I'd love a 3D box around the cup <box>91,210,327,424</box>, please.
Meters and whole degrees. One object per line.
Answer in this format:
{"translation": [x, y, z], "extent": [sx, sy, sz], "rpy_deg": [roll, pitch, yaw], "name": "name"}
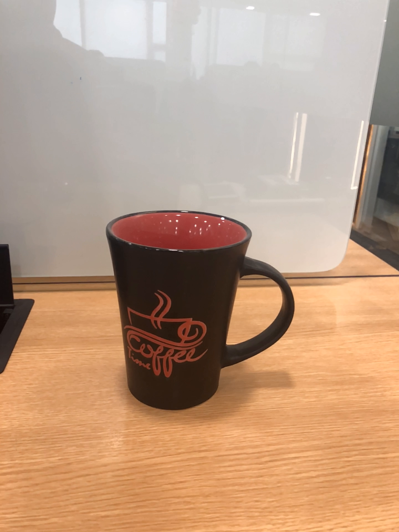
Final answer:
{"translation": [0.004, 0.026, 0.284], "extent": [0.120, 0.100, 0.090], "rpy_deg": [3, 20, 1], "name": "cup"}
